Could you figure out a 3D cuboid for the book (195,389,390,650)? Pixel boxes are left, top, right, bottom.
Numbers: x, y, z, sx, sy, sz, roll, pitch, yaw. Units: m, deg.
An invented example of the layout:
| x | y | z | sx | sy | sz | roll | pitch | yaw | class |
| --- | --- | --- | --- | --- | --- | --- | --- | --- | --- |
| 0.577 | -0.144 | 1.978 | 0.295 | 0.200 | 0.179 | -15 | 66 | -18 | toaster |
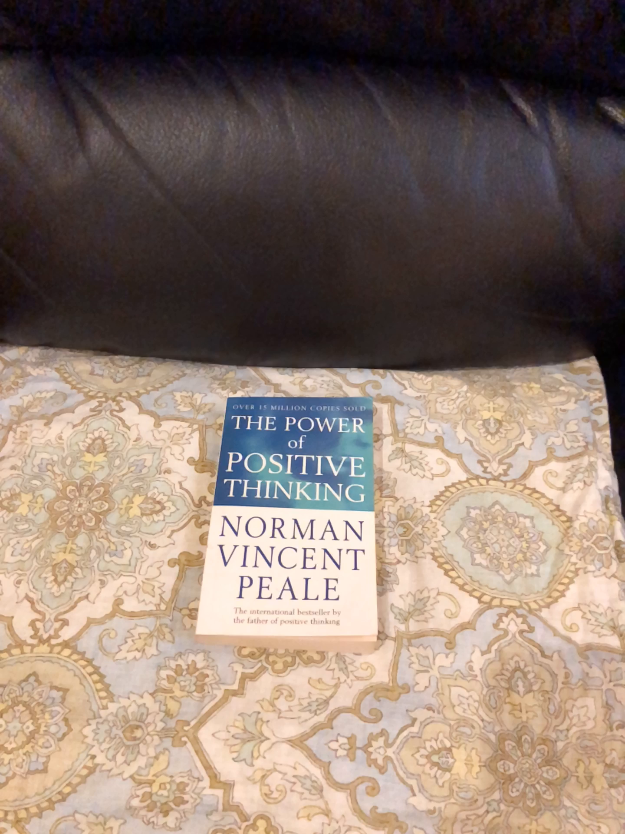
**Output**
| x | y | z | sx | sy | sz | roll | pitch | yaw | class |
| --- | --- | --- | --- | --- | --- | --- | --- | --- | --- |
| -0.011 | 0.065 | 0.484 | 0.120 | 0.030 | 0.183 | 1 | 58 | 0 | book |
